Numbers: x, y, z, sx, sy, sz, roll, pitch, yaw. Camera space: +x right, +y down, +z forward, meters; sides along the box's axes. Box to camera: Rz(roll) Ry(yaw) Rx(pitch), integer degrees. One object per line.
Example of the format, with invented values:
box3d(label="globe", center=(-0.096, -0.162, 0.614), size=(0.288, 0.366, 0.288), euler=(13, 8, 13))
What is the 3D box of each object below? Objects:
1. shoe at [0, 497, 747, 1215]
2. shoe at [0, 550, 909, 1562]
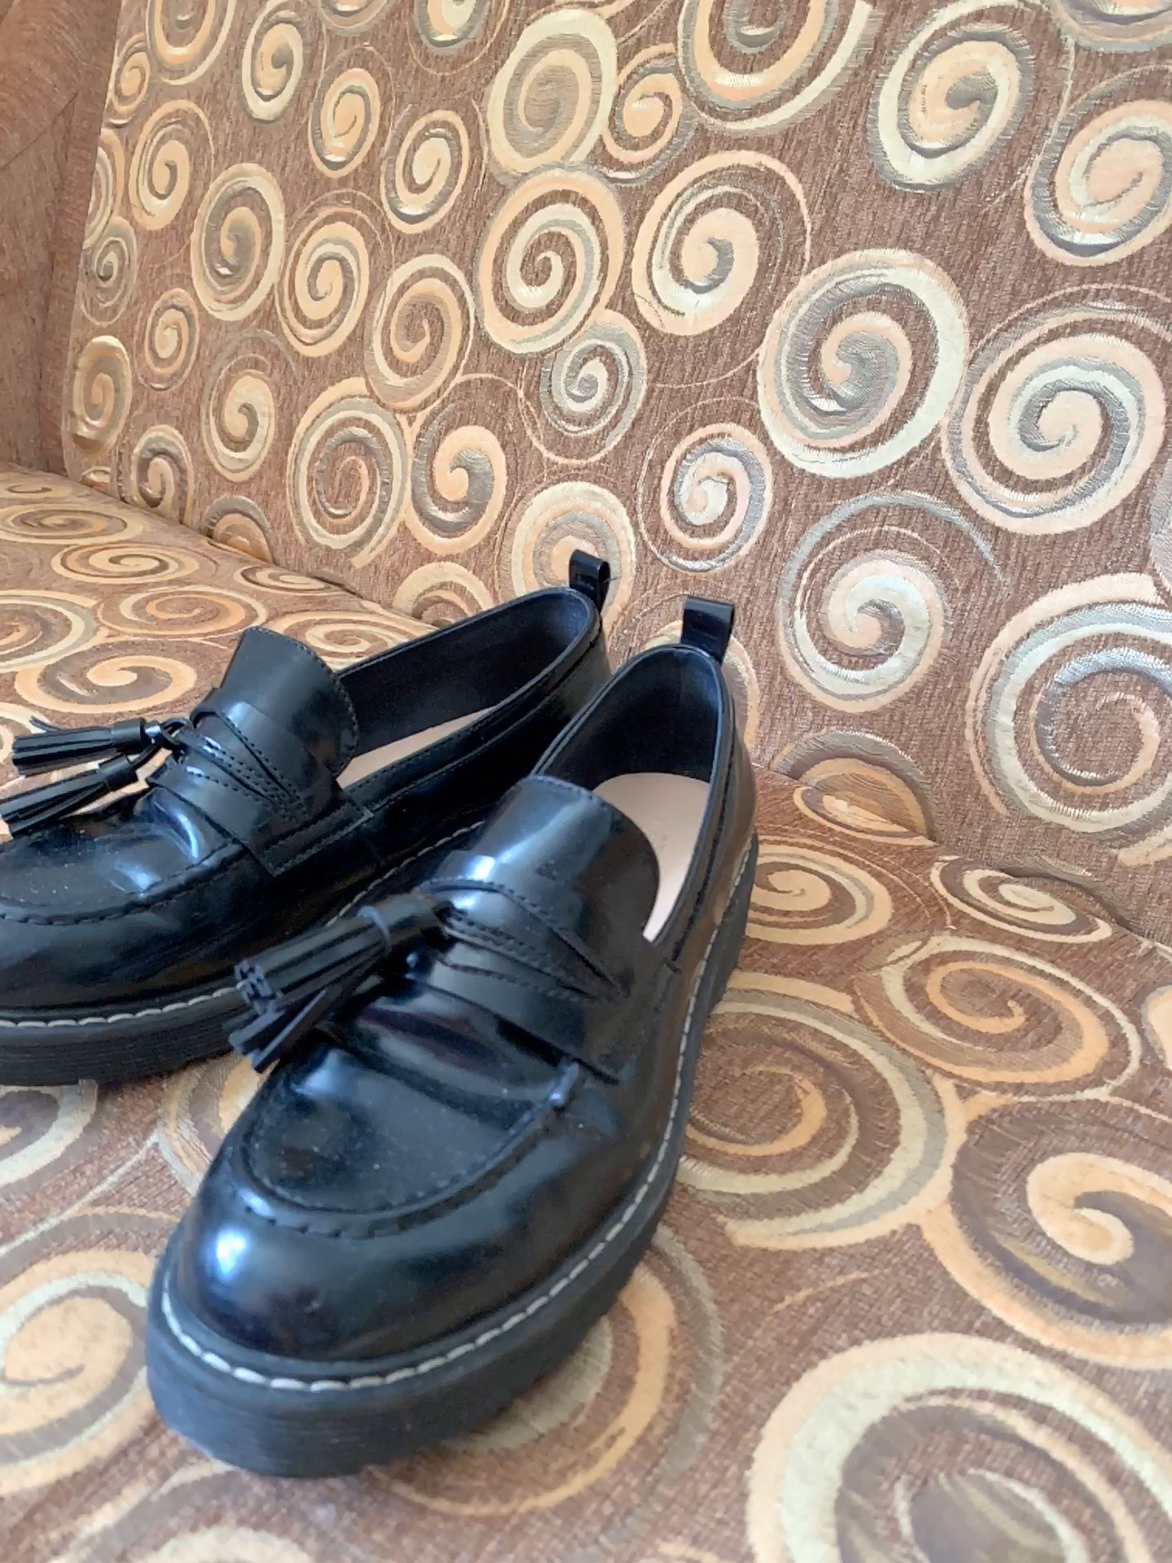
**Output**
box3d(label="shoe", center=(-0.070, 0.000, 0.354), size=(0.240, 0.099, 0.090), euler=(-25, 40, -36))
box3d(label="shoe", center=(-0.001, 0.038, 0.287), size=(0.090, 0.099, 0.241), euler=(15, 34, 21))
